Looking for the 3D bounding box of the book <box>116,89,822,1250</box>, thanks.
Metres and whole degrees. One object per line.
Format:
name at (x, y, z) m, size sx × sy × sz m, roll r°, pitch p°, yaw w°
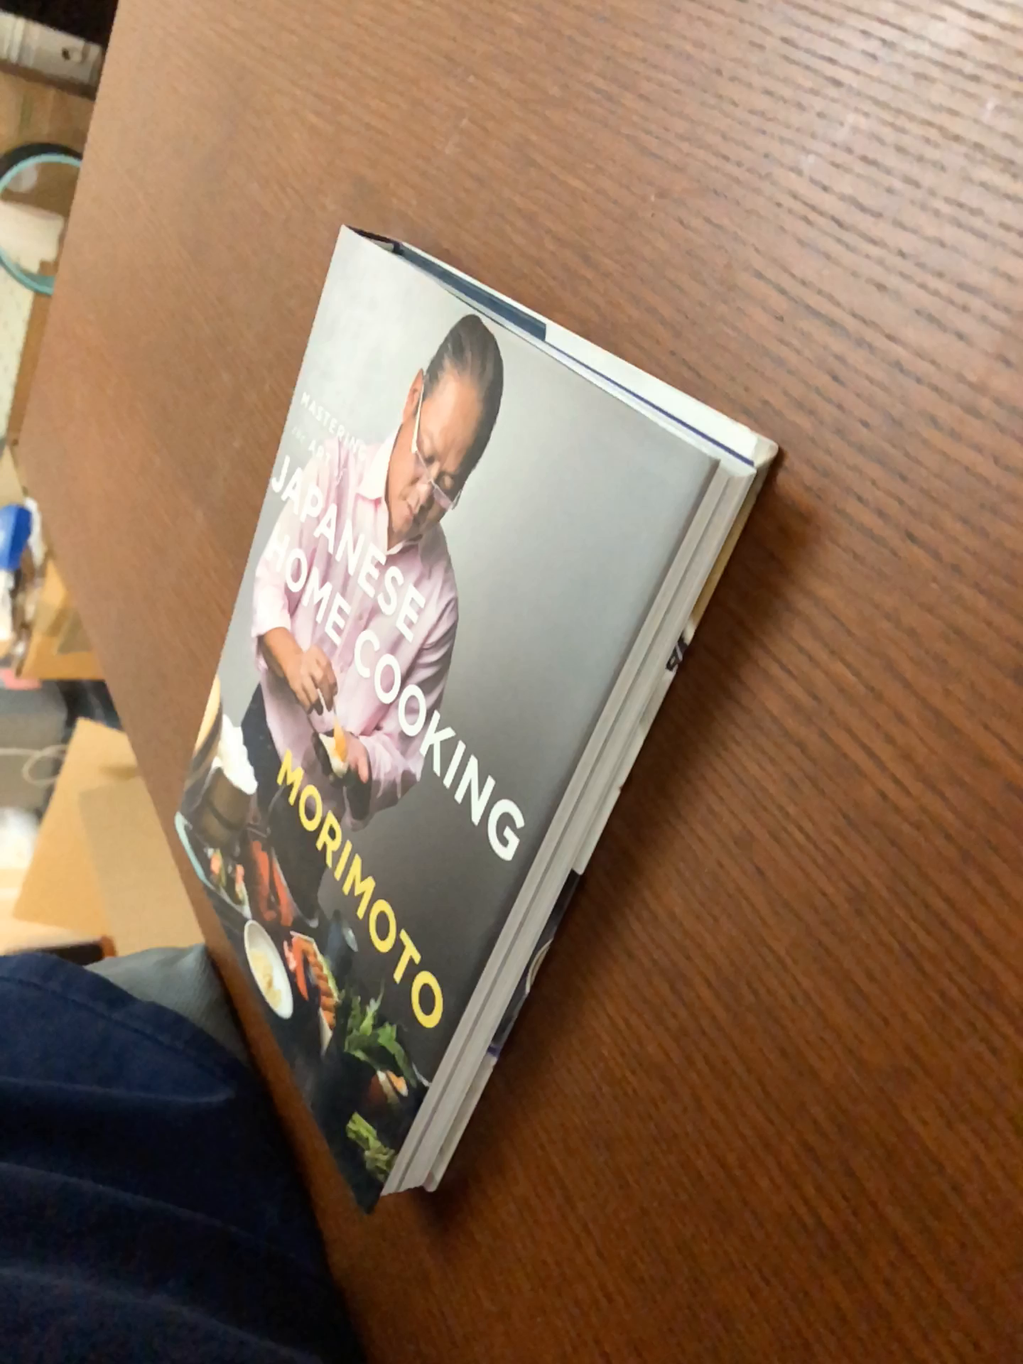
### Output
book at (-0.053, -0.012, 0.370) m, size 0.221 × 0.030 × 0.300 m, roll 47°, pitch 123°, yaw 43°
